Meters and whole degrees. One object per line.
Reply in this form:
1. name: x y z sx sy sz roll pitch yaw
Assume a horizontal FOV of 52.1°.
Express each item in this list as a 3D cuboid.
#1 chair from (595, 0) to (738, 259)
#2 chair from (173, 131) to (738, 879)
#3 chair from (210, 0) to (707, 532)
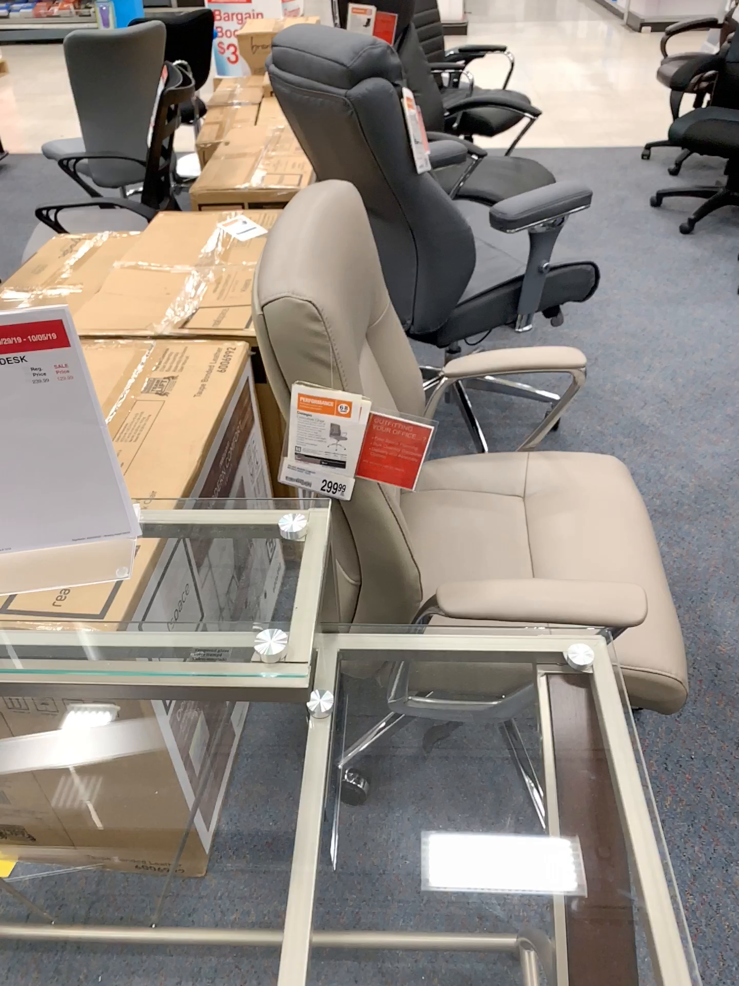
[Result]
1. chair: 1.704 -1.771 3.359 0.936 1.016 0.814 -30 46 -30
2. chair: 0.204 0.020 1.227 0.674 0.956 0.695 2 39 5
3. chair: 0.166 -0.660 2.043 0.815 1.055 0.815 -19 42 -20
